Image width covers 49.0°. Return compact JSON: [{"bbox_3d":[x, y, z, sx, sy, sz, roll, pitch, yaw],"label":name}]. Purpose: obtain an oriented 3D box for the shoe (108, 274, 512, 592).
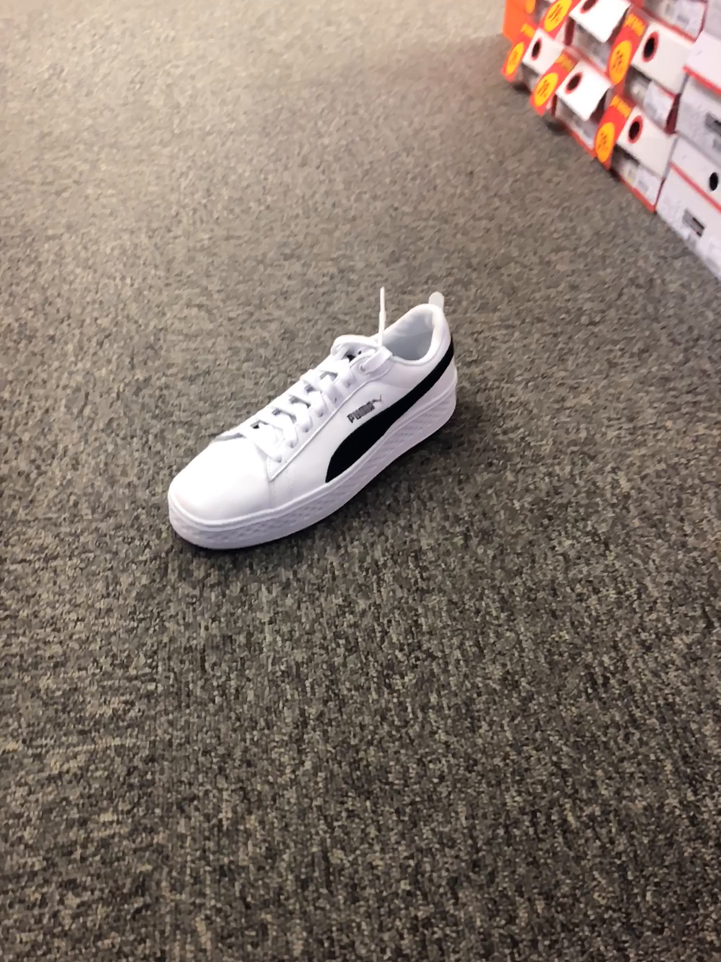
[{"bbox_3d":[-0.028,-0.050,0.616,0.291,0.089,0.110,-31,51,-26],"label":"shoe"}]
